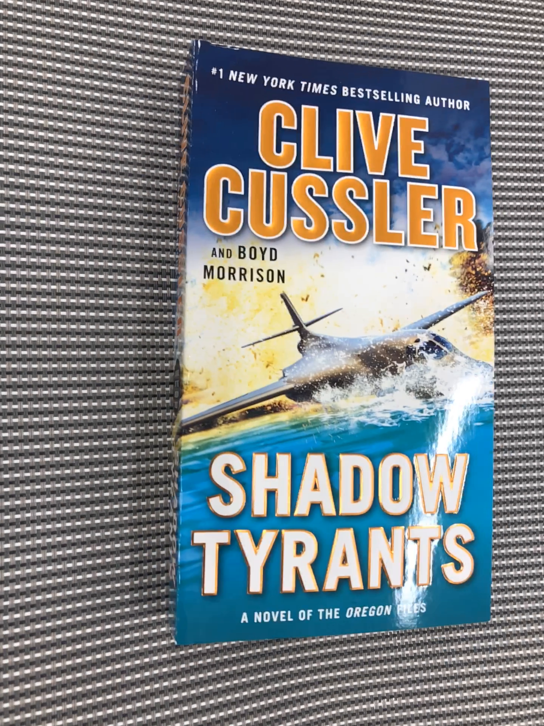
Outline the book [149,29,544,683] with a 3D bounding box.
[{"bbox_3d":[0.022,-0.002,0.210,0.120,0.060,0.180,1,85,-14],"label":"book"}]
